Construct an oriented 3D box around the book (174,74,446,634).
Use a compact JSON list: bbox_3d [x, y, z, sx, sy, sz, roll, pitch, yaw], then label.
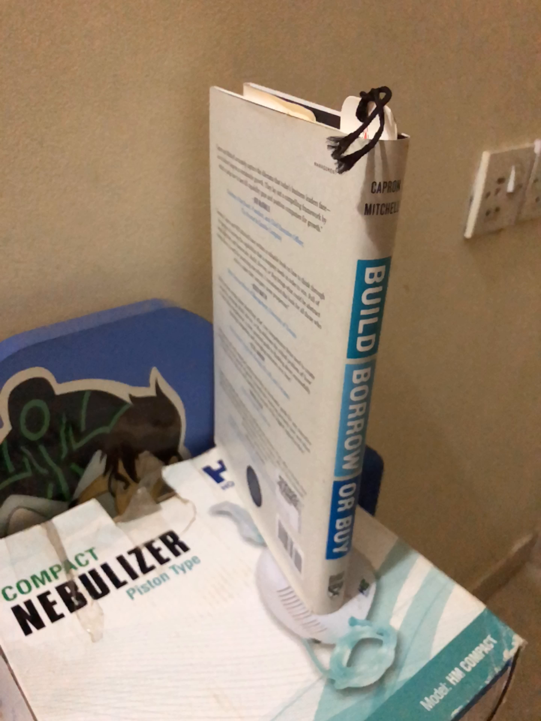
[{"bbox_3d":[-0.001,-0.011,0.325,0.040,0.239,0.181,-11,33,-22],"label":"book"}]
